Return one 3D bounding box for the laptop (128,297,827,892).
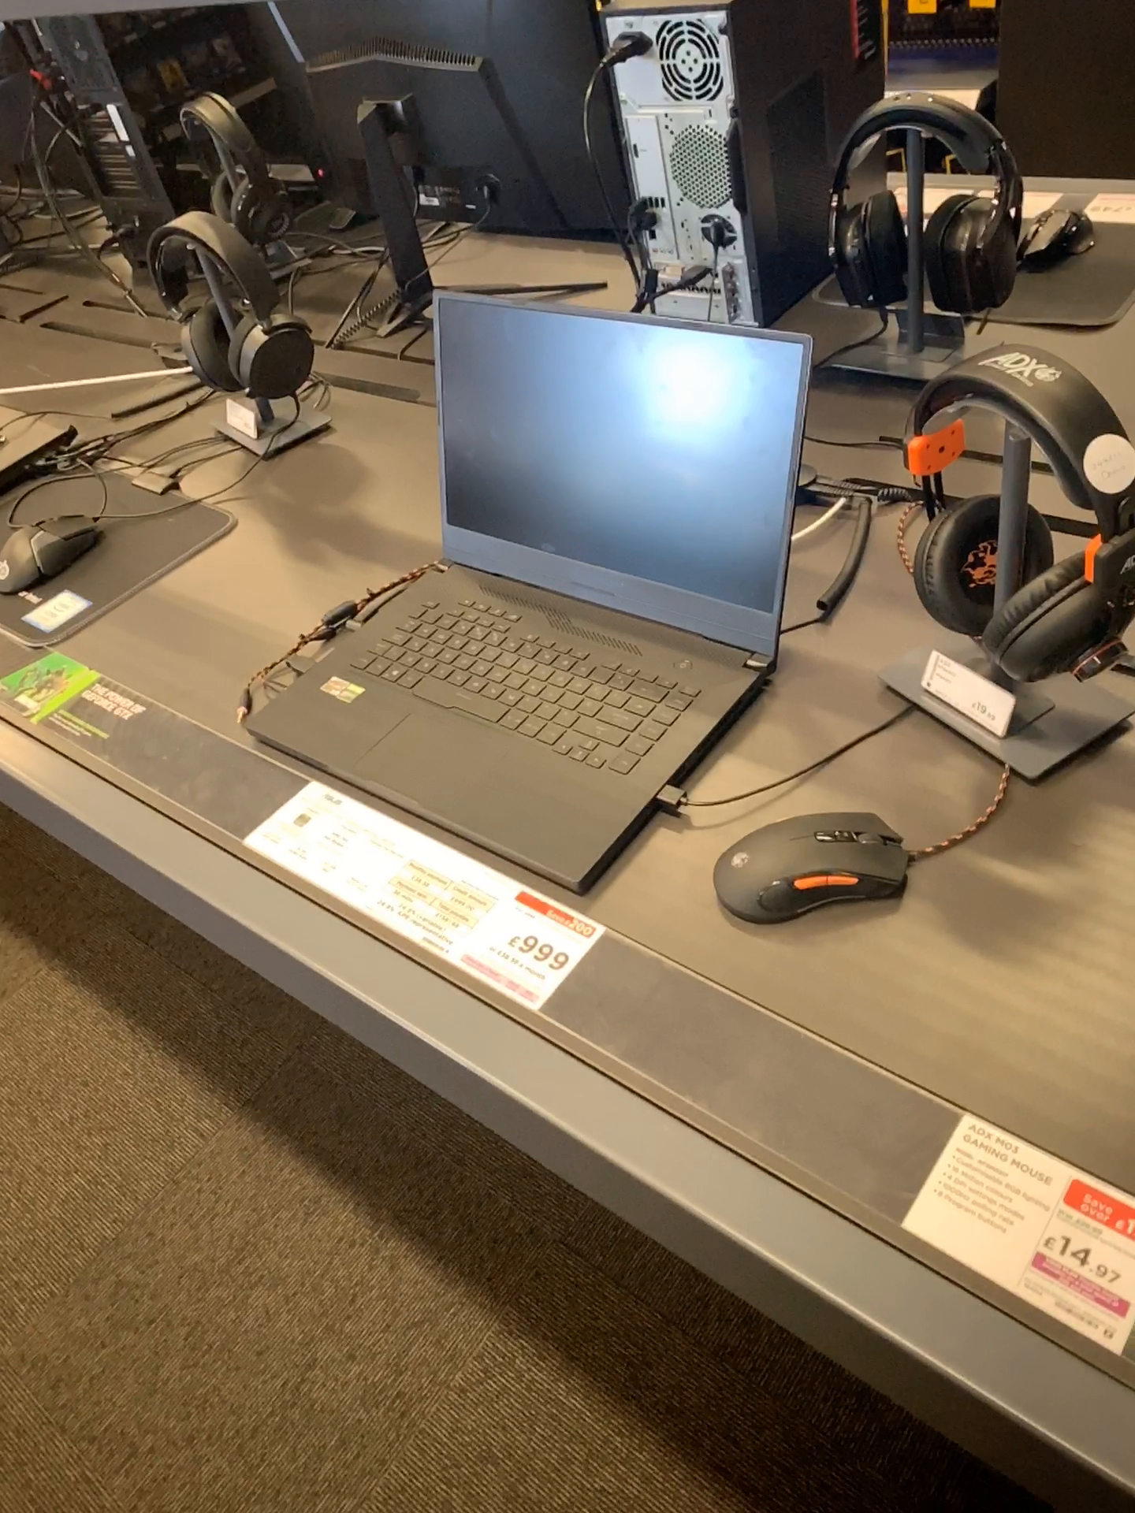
[{"bbox_3d":[-0.051,-0.145,0.853,0.349,0.203,0.324,22,55,33],"label":"laptop"}]
